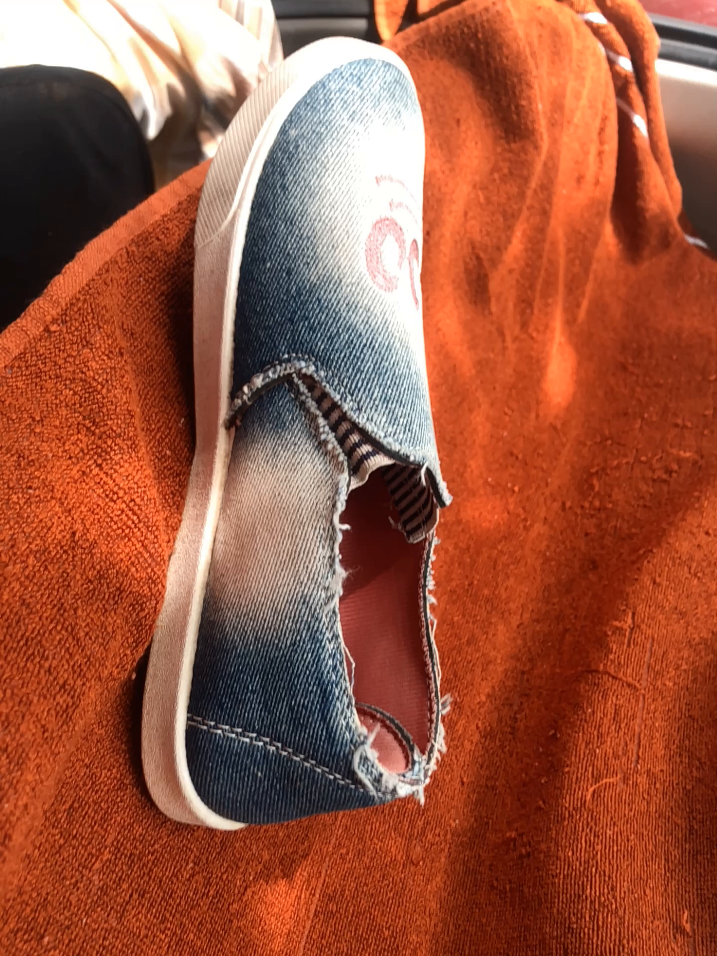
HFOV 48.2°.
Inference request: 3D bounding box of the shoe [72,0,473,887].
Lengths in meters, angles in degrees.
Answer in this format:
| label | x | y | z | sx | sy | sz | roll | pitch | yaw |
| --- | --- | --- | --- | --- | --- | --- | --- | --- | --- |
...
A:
| label | x | y | z | sx | sy | sz | roll | pitch | yaw |
| --- | --- | --- | --- | --- | --- | --- | --- | --- | --- |
| shoe | -0.017 | -0.013 | 0.263 | 0.091 | 0.079 | 0.240 | 22 | 67 | -60 |
